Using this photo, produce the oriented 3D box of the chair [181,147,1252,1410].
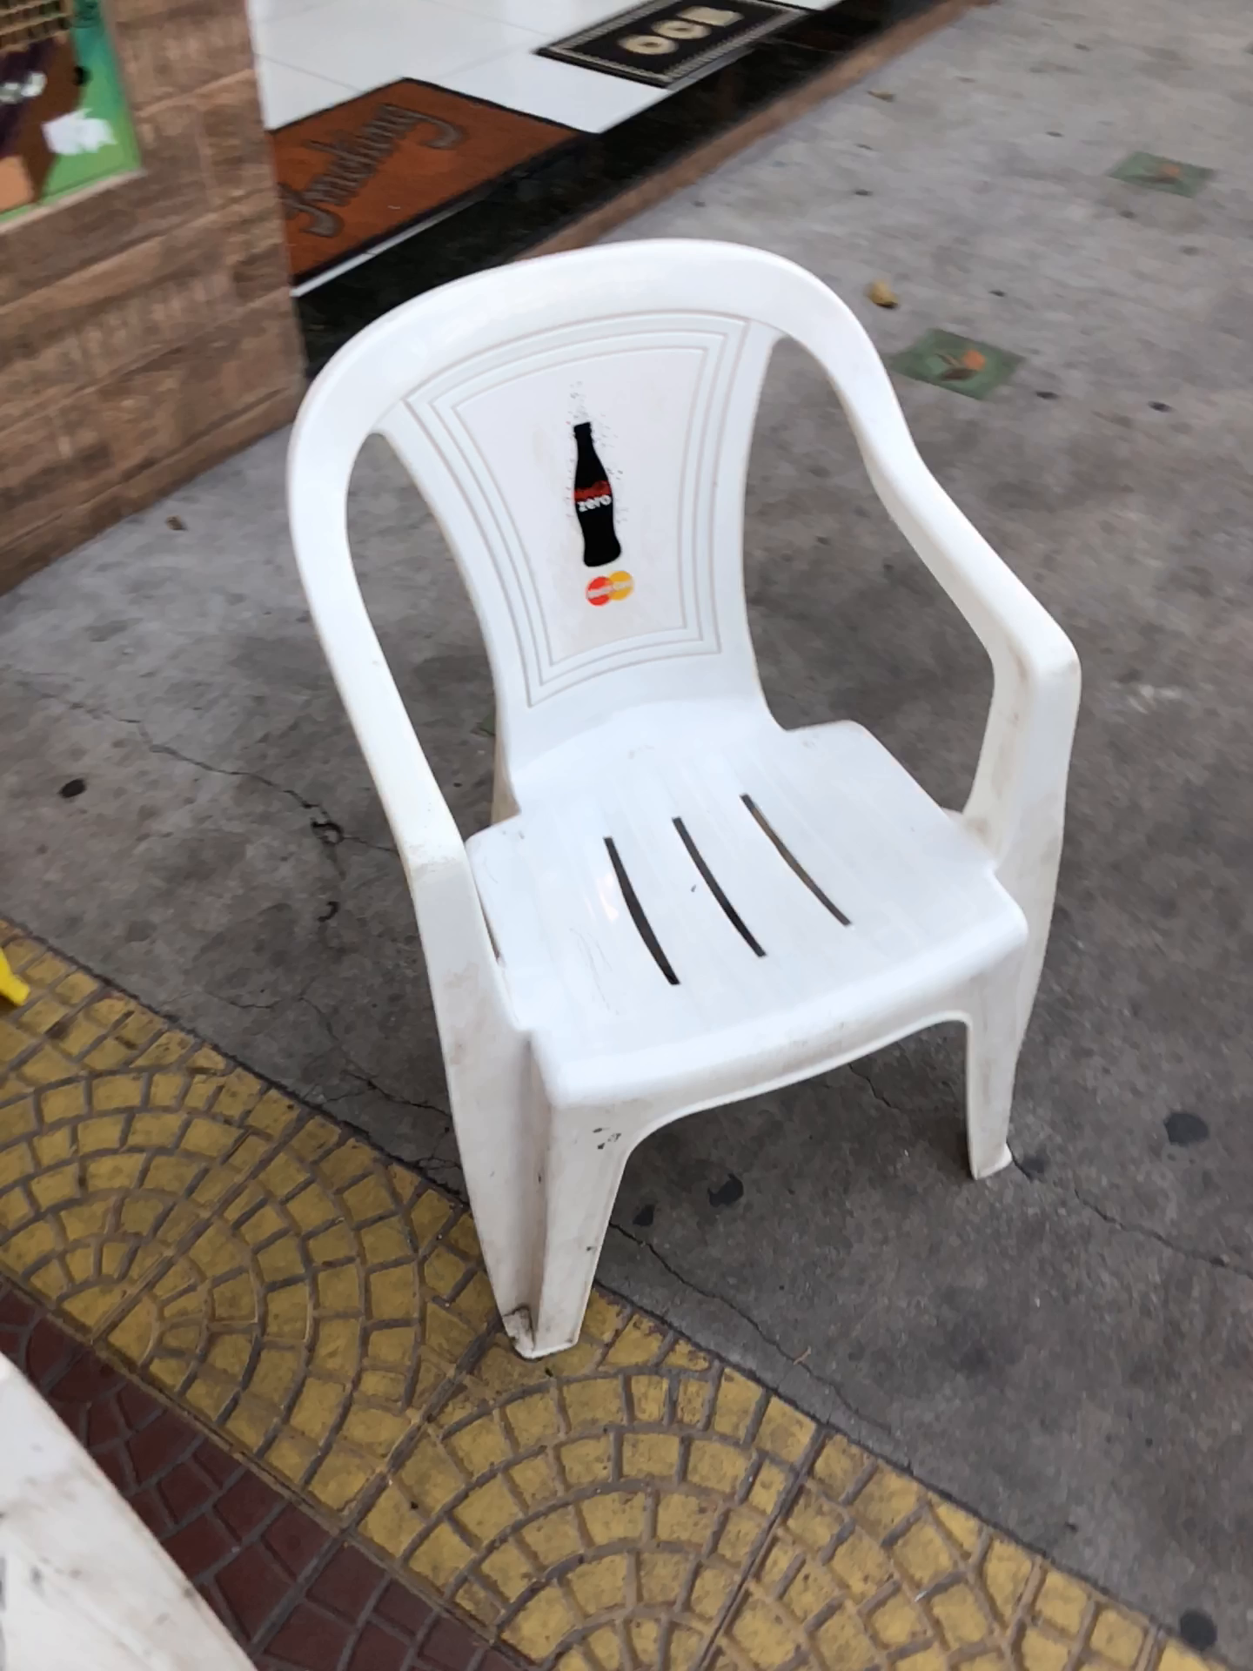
[{"bbox_3d":[0.078,-0.051,1.153,0.641,0.745,0.553,-16,47,-16],"label":"chair"}]
